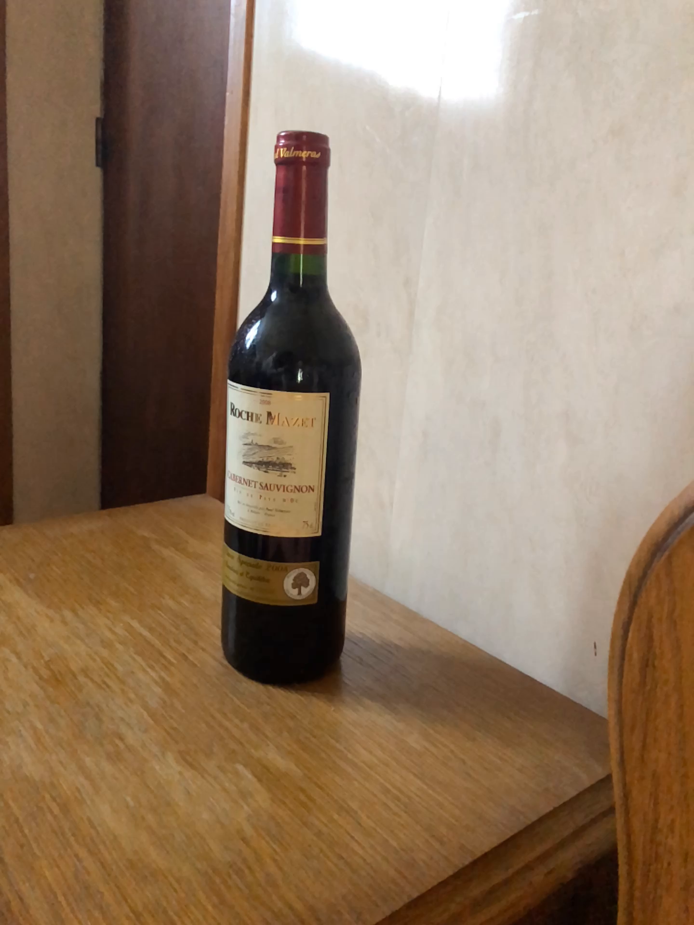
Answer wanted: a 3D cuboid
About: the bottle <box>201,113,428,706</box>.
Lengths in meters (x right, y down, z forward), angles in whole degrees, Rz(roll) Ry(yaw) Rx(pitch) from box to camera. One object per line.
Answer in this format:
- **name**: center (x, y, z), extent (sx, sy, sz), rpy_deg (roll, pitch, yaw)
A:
- **bottle**: center (-0.020, -0.027, 0.430), extent (0.080, 0.299, 0.080), rpy_deg (5, 14, -1)
